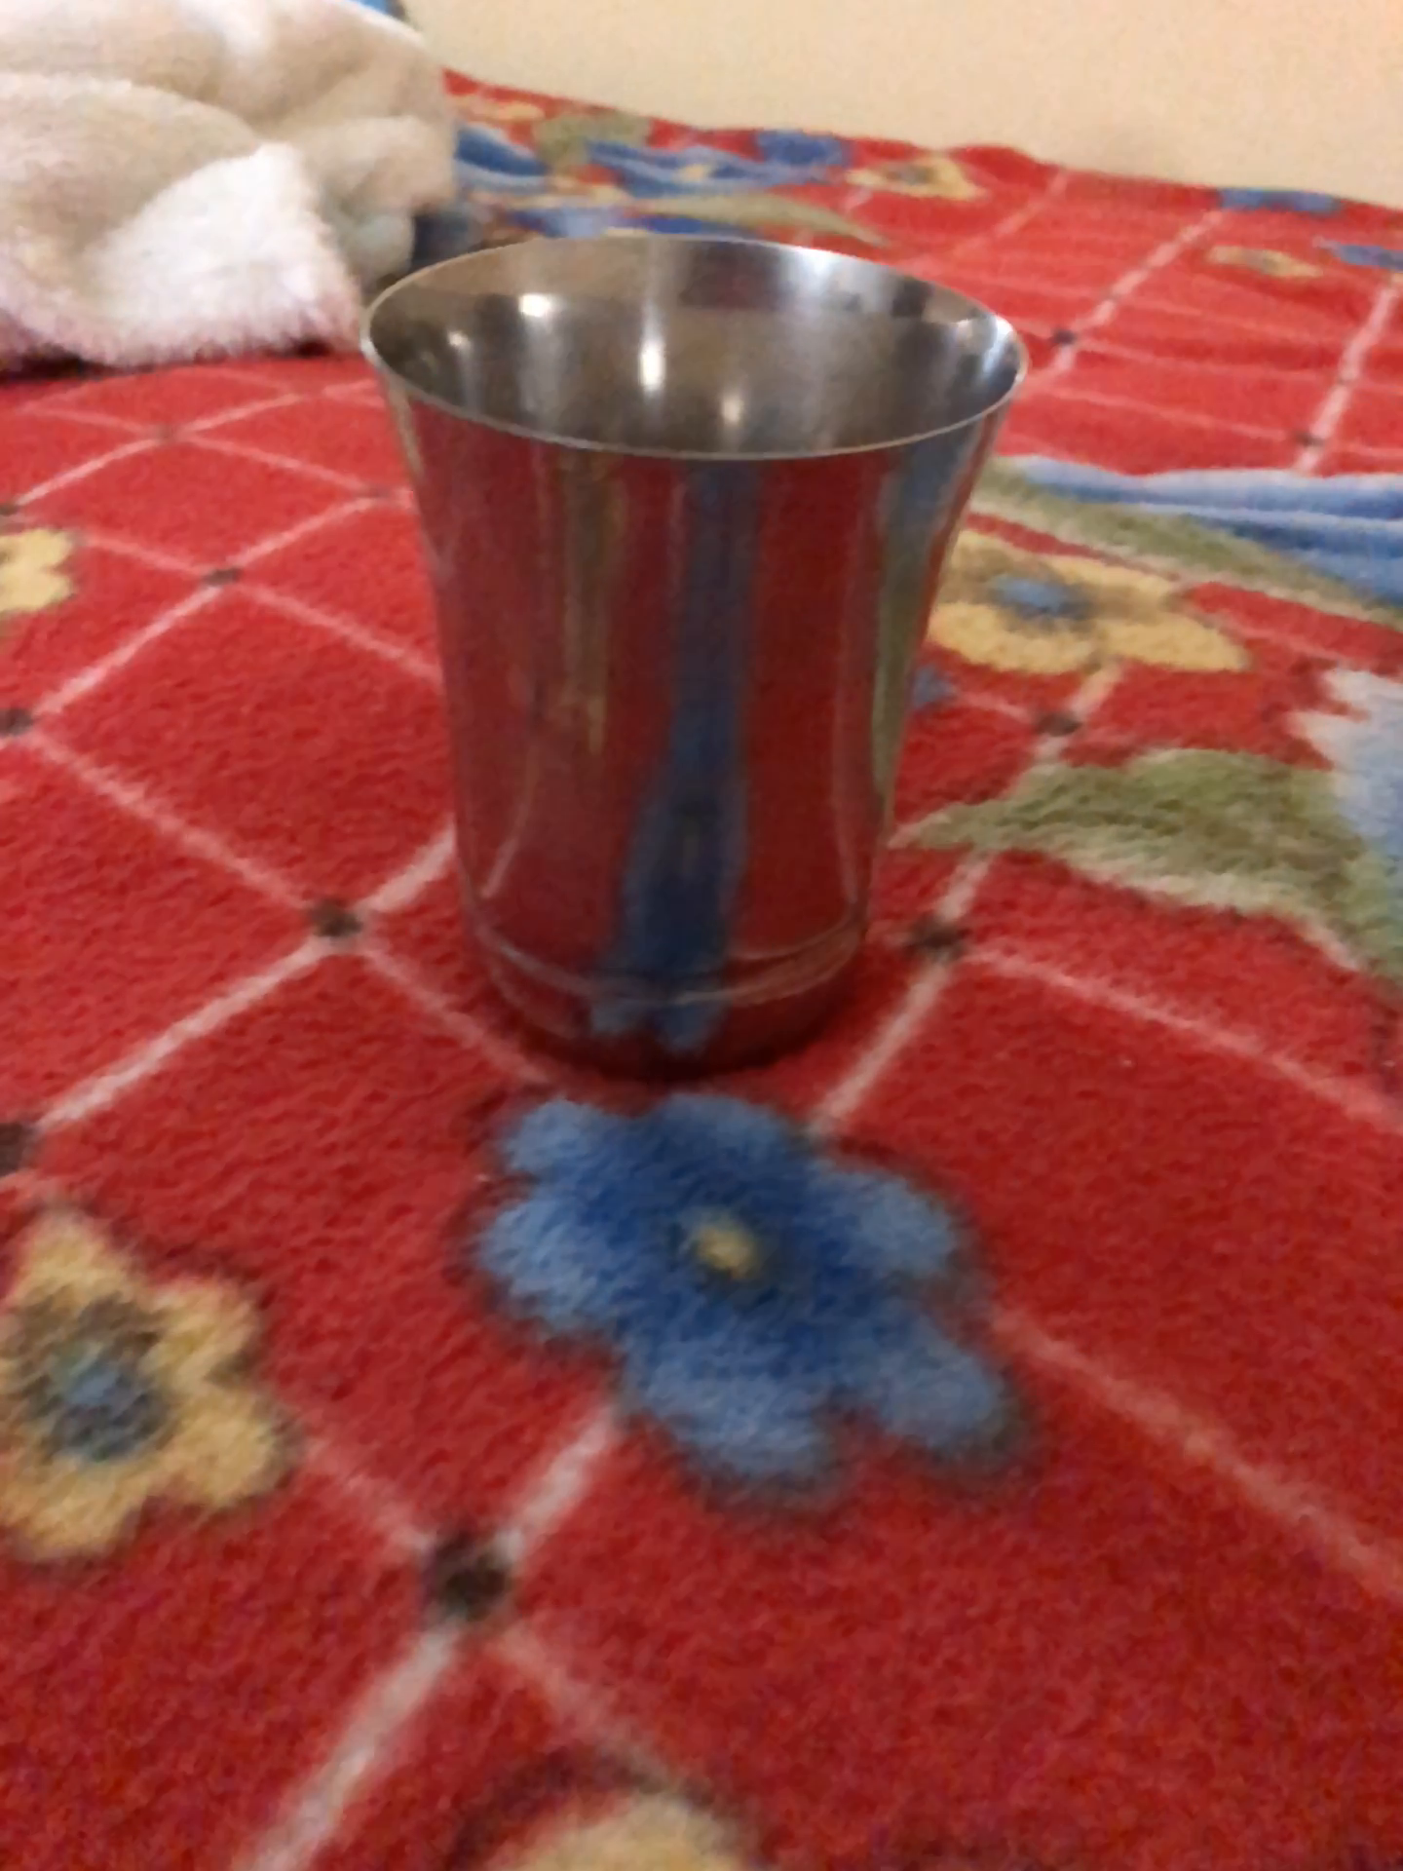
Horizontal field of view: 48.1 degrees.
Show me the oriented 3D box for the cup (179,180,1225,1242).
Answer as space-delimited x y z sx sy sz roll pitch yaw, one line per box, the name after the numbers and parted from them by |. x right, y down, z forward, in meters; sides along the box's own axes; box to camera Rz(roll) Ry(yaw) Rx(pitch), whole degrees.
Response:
0.000 -0.037 0.210 0.089 0.090 0.087 5 37 -4 | cup
